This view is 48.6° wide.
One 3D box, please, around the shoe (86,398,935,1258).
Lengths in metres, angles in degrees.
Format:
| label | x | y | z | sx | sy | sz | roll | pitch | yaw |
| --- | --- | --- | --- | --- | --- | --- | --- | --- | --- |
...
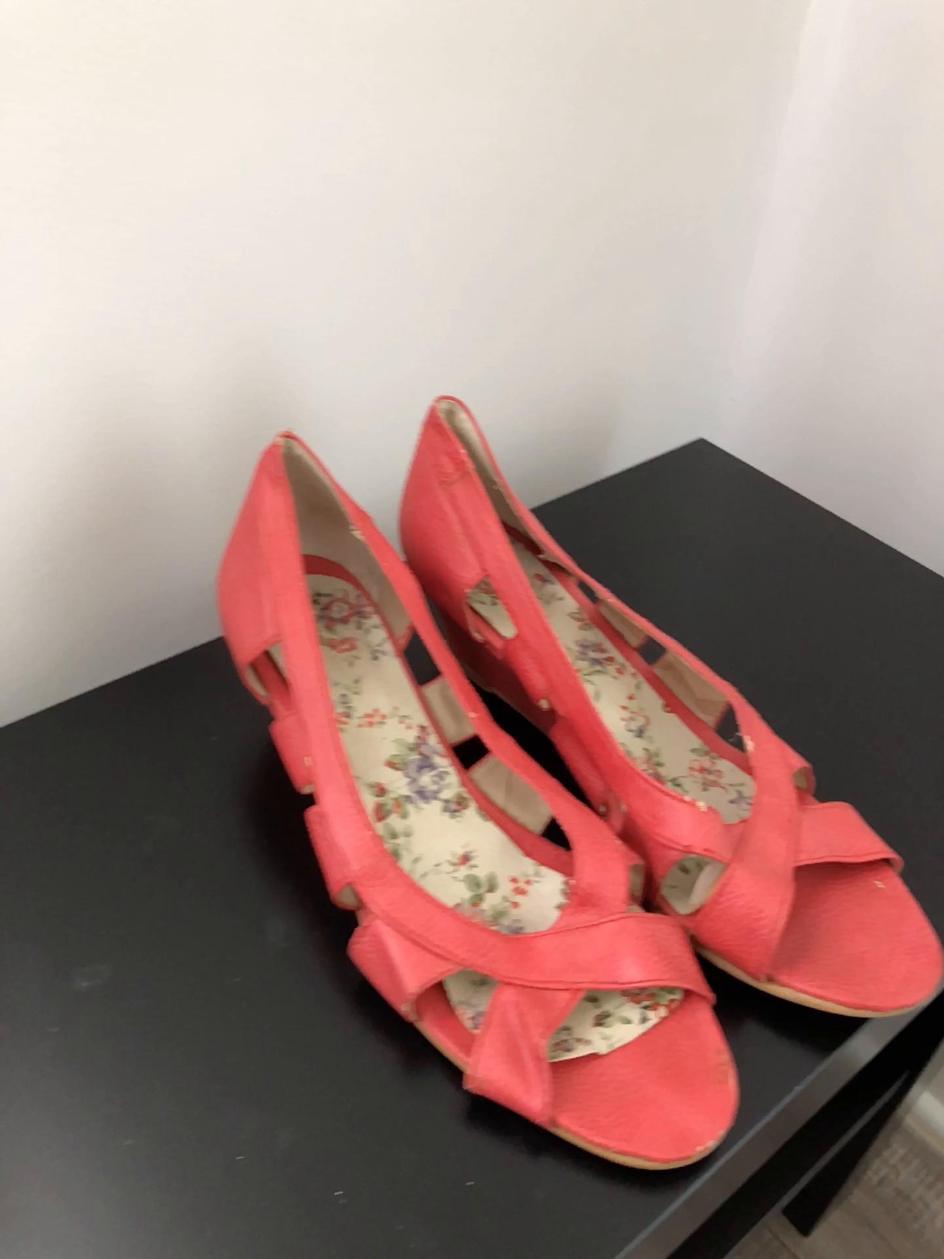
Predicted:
| label | x | y | z | sx | sy | sz | roll | pitch | yaw |
| --- | --- | --- | --- | --- | --- | --- | --- | --- | --- |
| shoe | -0.010 | 0.037 | 0.291 | 0.087 | 0.100 | 0.221 | -26 | 49 | -31 |

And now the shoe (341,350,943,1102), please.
| label | x | y | z | sx | sy | sz | roll | pitch | yaw |
| --- | --- | --- | --- | --- | --- | --- | --- | --- | --- |
| shoe | 0.057 | 0.011 | 0.329 | 0.077 | 0.100 | 0.231 | -26 | 49 | -31 |
